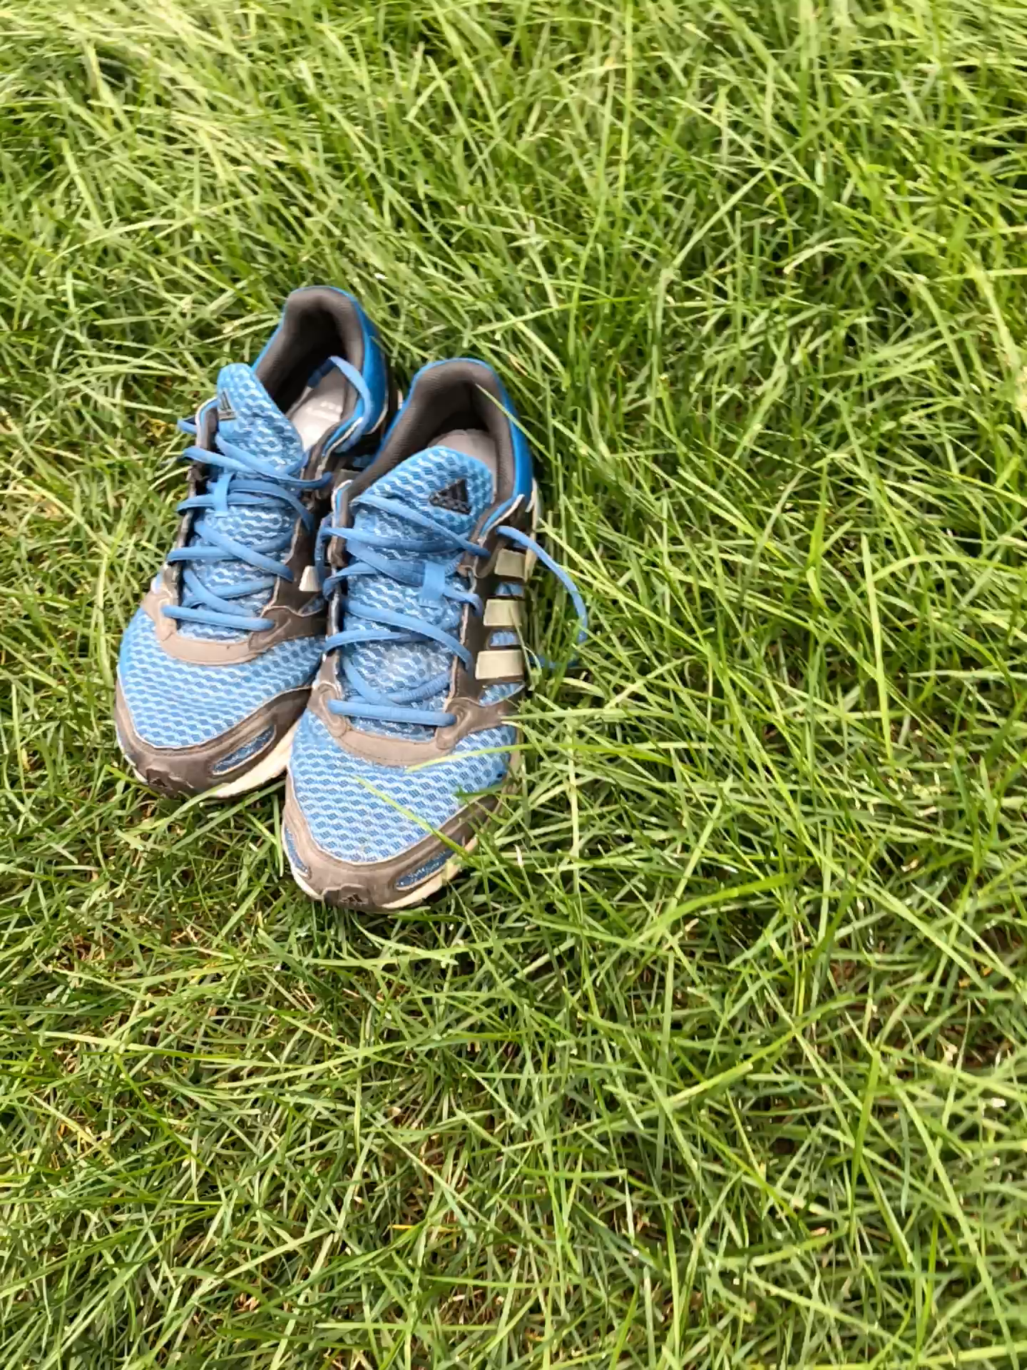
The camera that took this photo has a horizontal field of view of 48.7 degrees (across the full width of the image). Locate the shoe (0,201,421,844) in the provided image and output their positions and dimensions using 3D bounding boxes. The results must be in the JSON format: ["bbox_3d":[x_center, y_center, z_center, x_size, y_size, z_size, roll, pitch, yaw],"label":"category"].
[{"bbox_3d":[-0.152,-0.078,0.548,0.120,0.120,0.270,10,73,15],"label":"shoe"}]

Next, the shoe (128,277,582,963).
[{"bbox_3d":[-0.056,-0.030,0.518,0.120,0.120,0.280,5,72,14],"label":"shoe"}]
